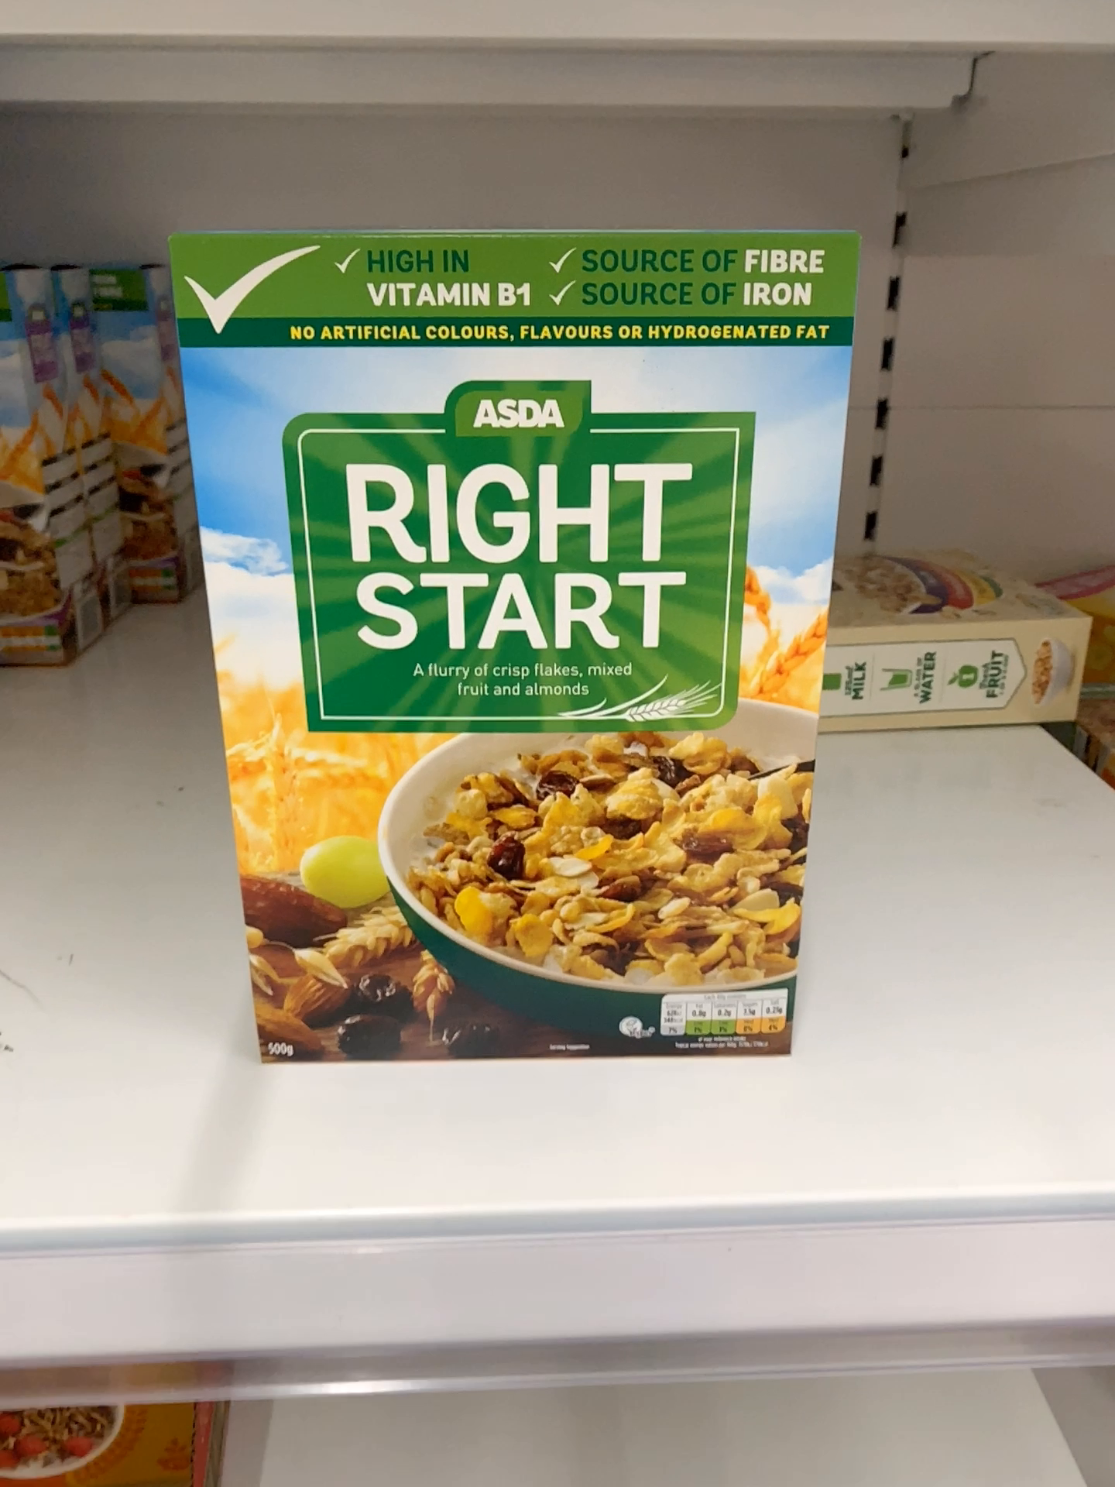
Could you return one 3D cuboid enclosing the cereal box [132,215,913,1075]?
[{"bbox_3d":[-0.009,-0.025,0.378,0.200,0.268,0.071,-1,22,-2],"label":"cereal box"}]
